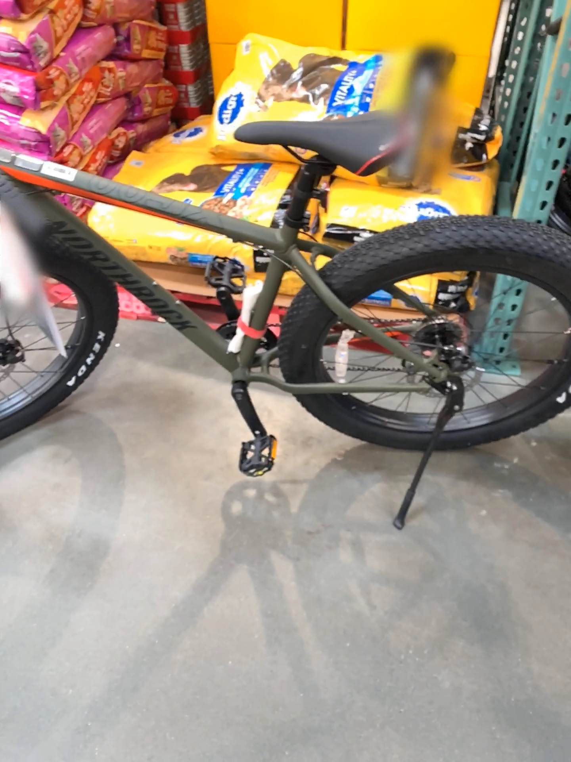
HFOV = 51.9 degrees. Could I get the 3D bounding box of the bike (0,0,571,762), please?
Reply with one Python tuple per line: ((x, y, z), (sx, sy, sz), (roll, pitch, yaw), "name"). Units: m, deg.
((-0.021, -0.063, 0.930), (1.713, 1.203, 0.594), (-6, 42, -17), "bike")
